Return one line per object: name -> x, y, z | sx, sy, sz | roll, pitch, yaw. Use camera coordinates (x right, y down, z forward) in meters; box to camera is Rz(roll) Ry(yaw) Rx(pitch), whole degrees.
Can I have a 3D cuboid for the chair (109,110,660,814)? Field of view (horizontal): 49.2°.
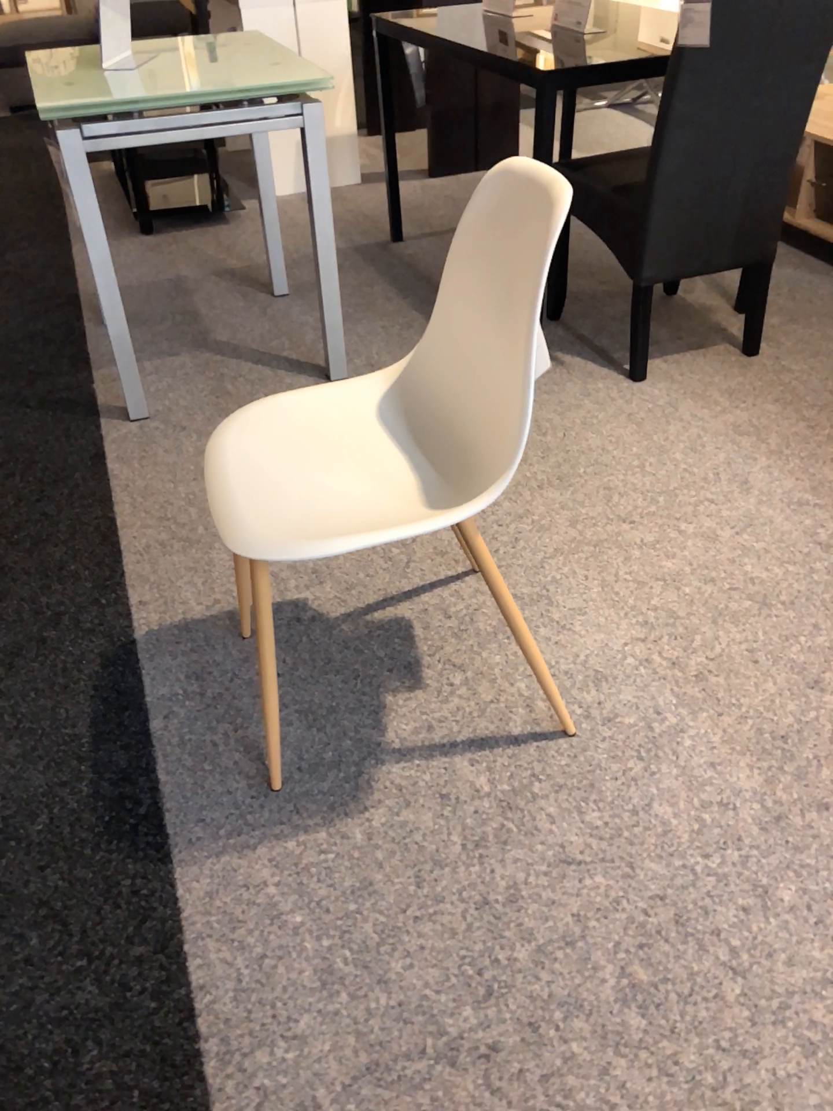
chair -> -0.075, -0.160, 1.437 | 0.601, 0.845, 0.572 | -11, 37, -11
